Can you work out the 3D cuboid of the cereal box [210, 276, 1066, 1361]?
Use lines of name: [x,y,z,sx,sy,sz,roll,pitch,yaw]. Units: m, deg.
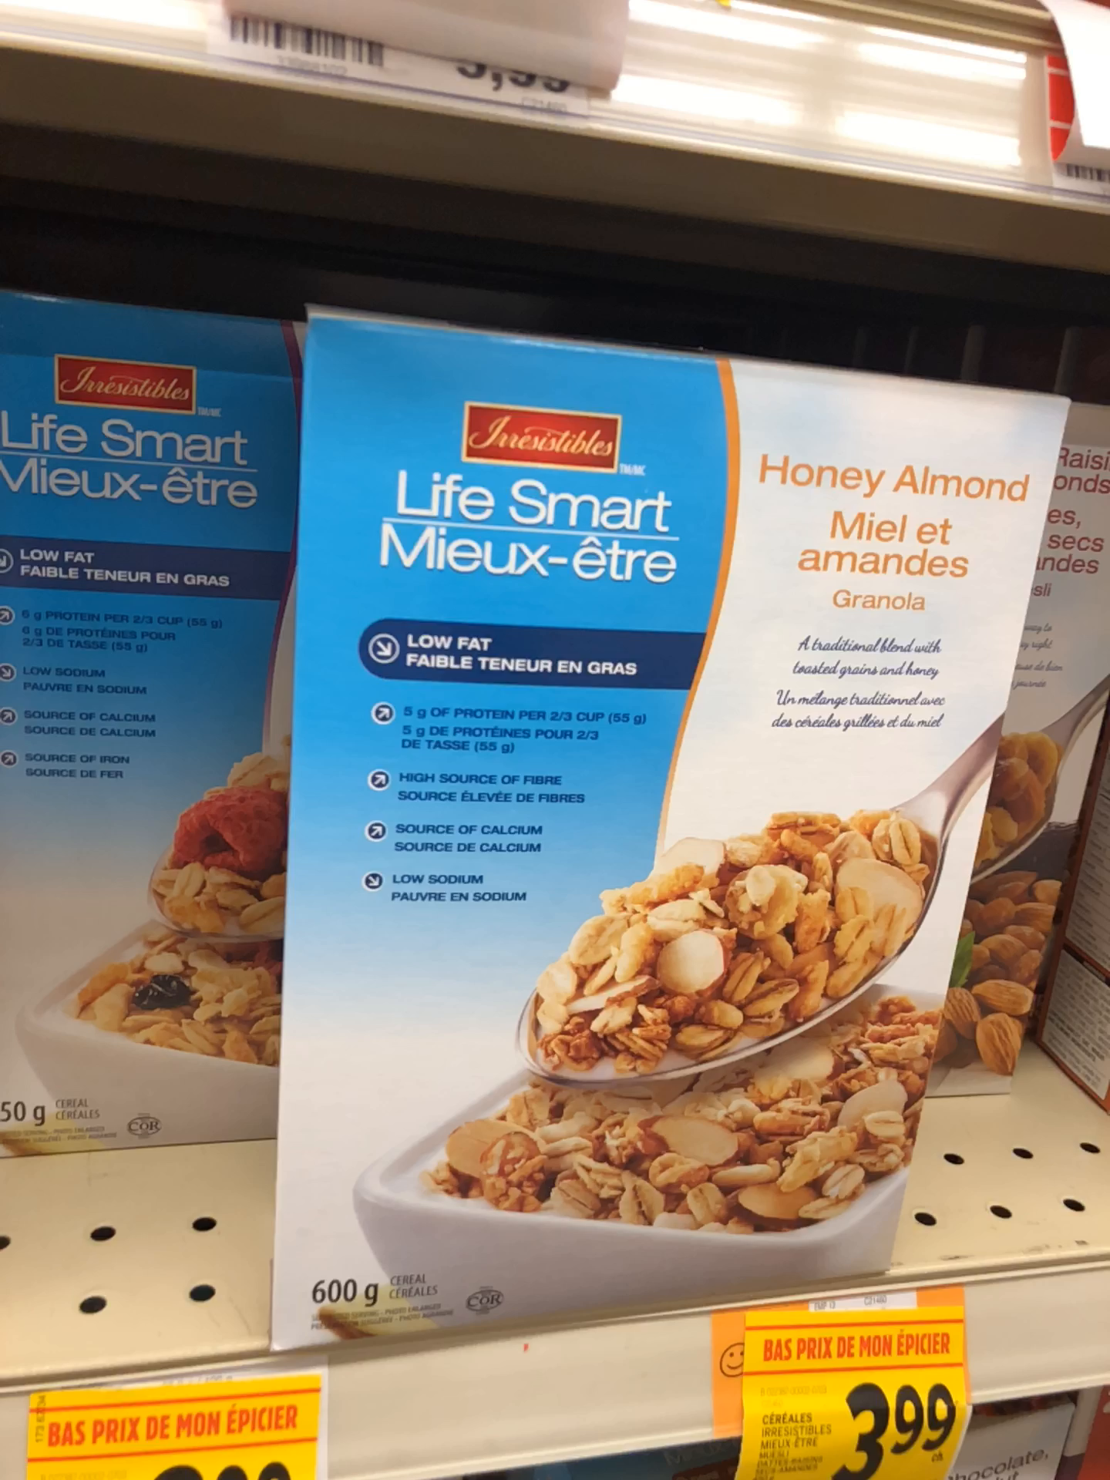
cereal box: [0.007,0.023,0.301,0.170,0.239,0.060,1,18,-15]
